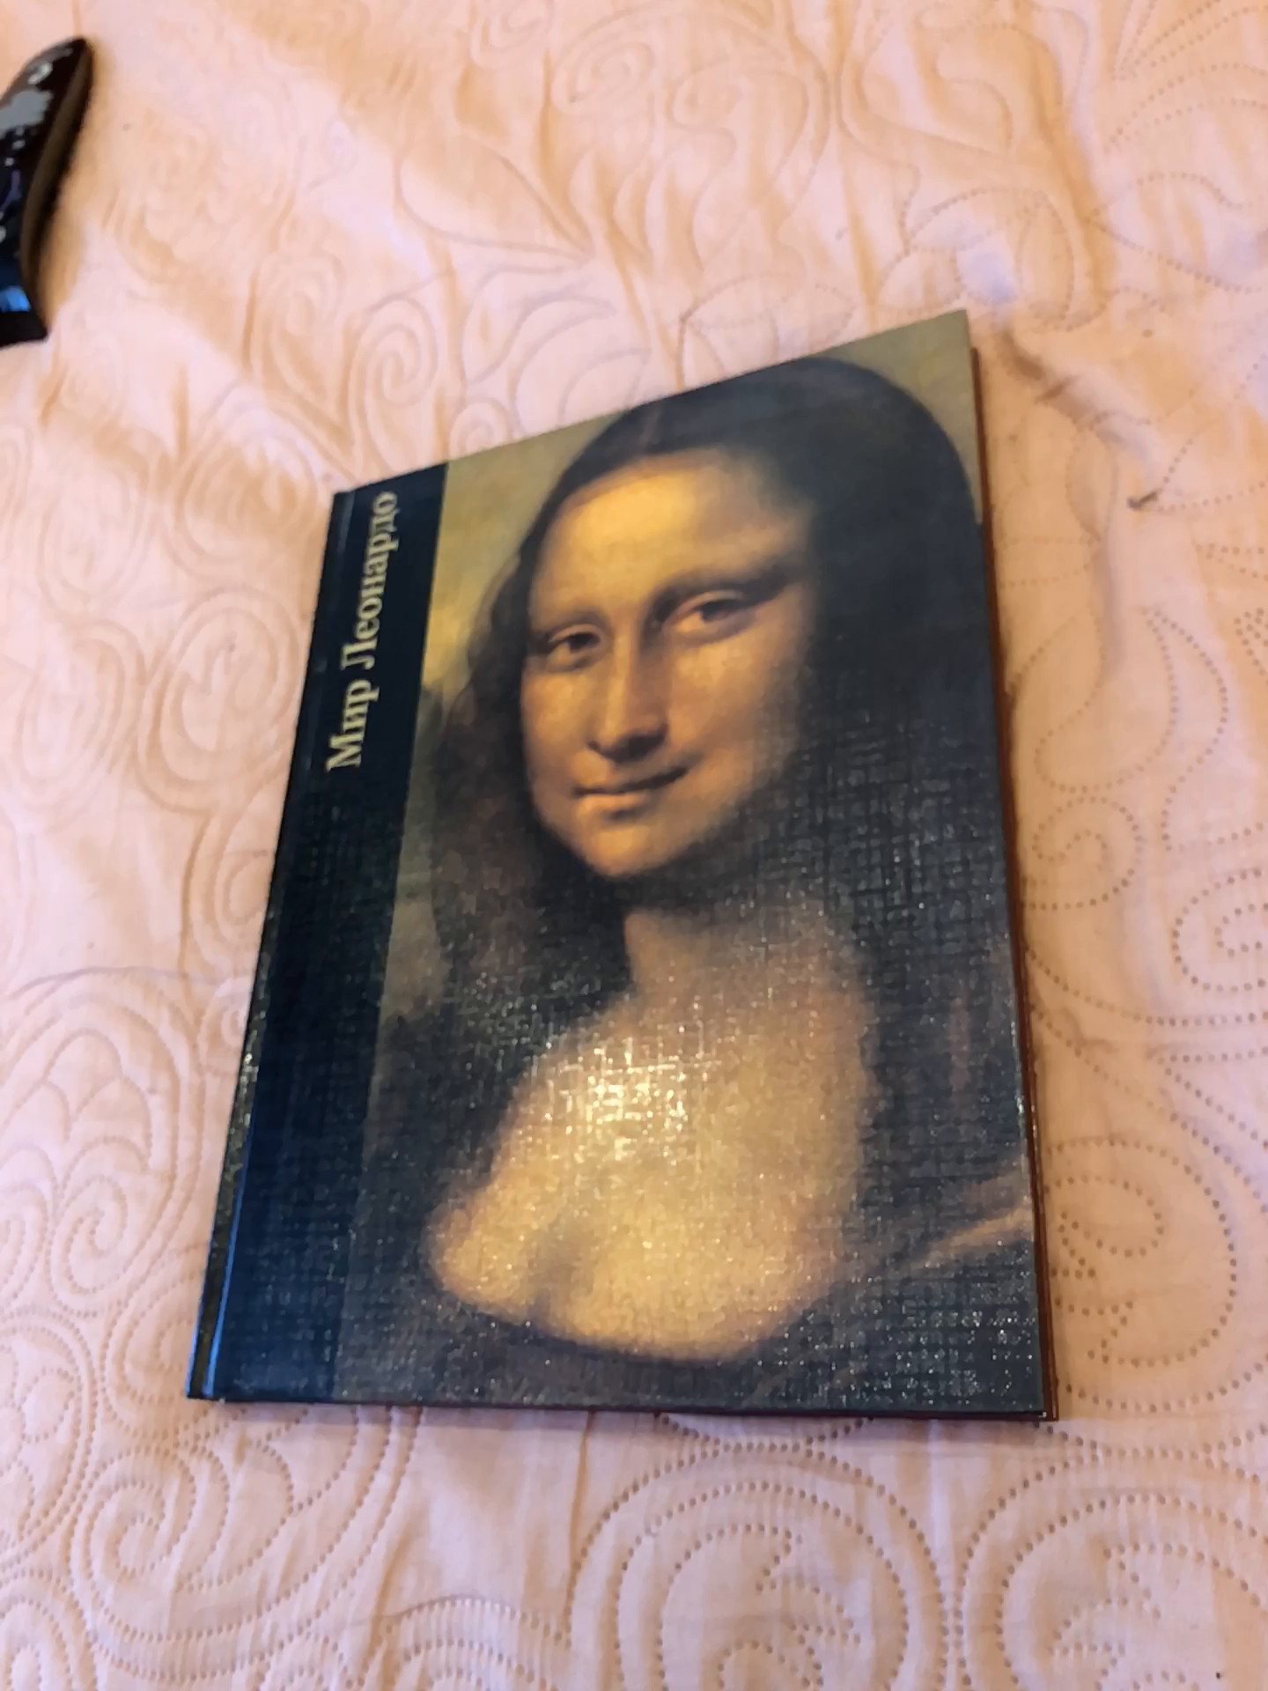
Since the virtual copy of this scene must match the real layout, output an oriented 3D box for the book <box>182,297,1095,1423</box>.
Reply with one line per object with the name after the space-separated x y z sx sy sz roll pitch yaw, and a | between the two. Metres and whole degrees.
-0.006 0.002 0.369 0.210 0.030 0.273 -9 65 23 | book
